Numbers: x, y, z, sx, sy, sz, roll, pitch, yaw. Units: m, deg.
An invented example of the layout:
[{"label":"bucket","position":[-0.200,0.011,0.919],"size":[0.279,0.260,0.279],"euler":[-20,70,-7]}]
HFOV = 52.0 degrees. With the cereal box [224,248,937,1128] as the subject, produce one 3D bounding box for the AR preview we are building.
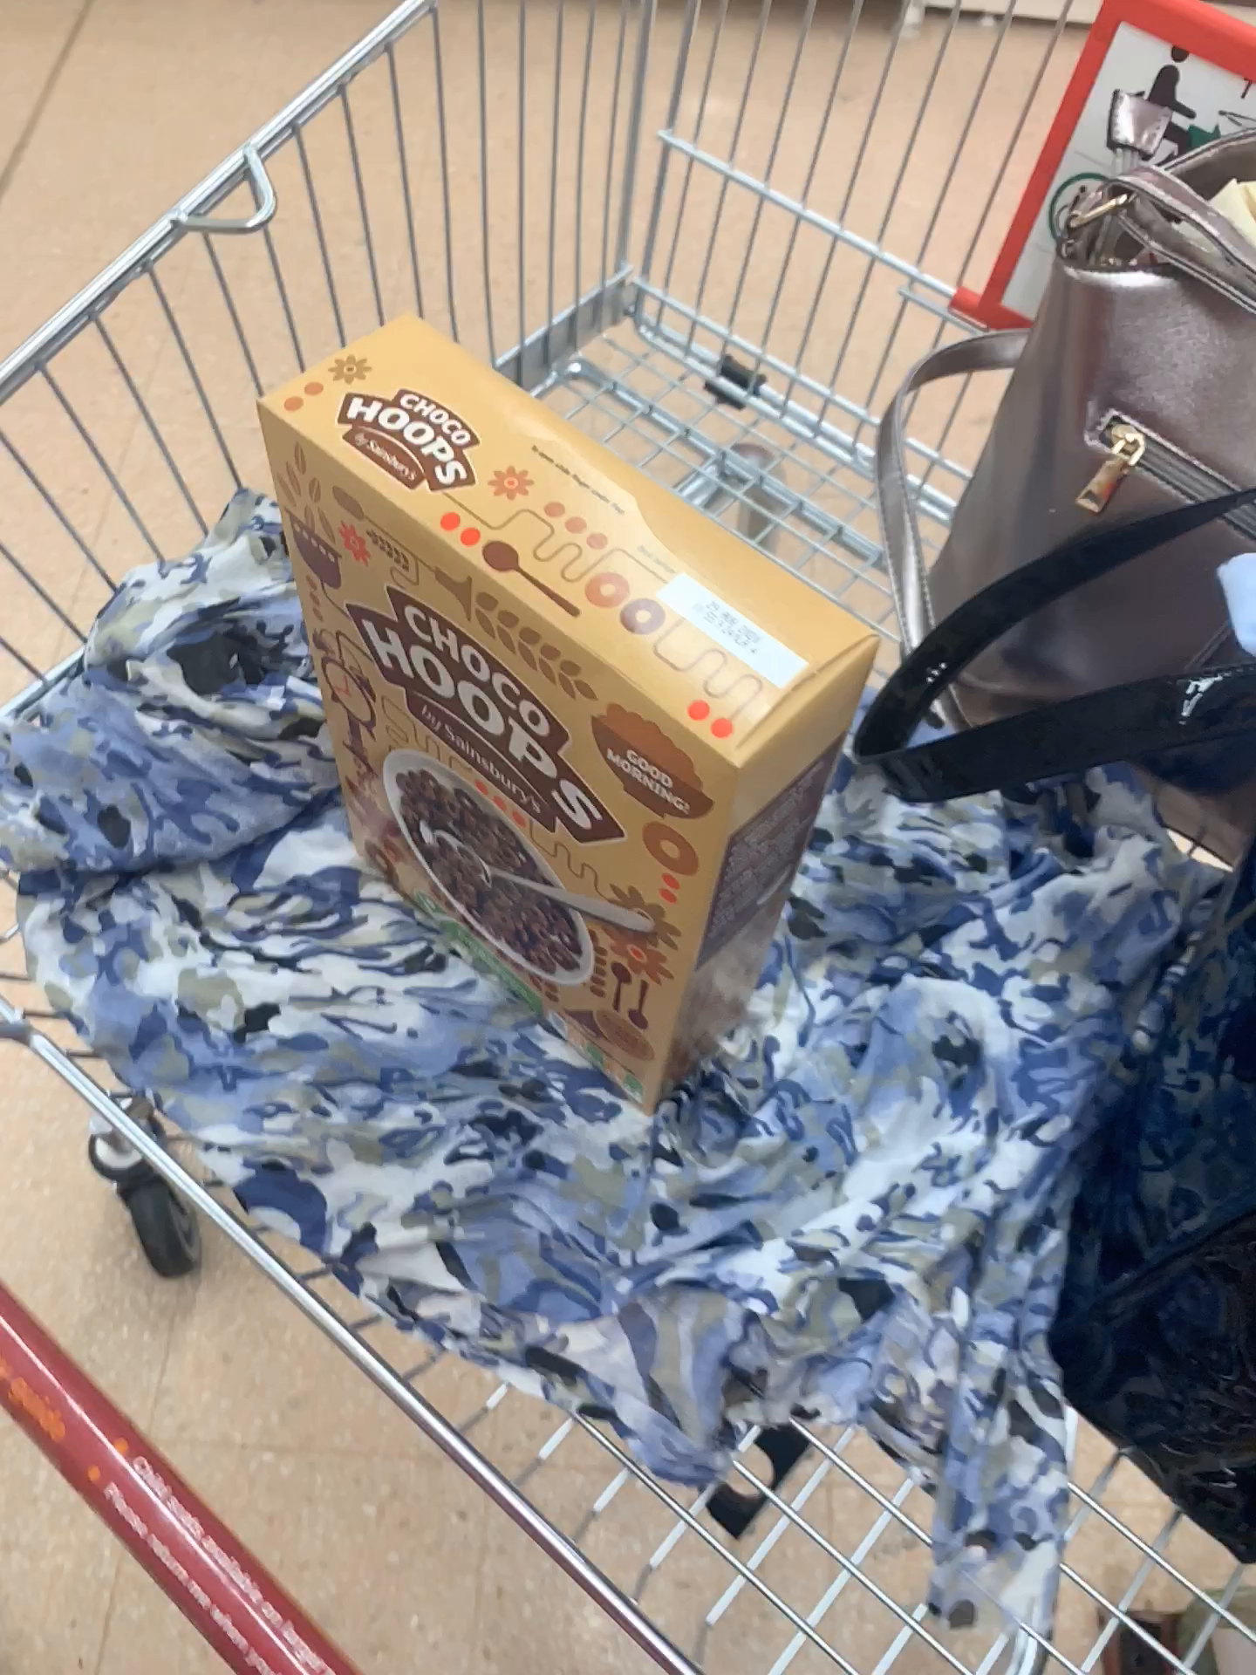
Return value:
[{"label":"cereal box","position":[-0.032,-0.031,0.505],"size":[0.221,0.298,0.070],"euler":[39,63,16]}]
